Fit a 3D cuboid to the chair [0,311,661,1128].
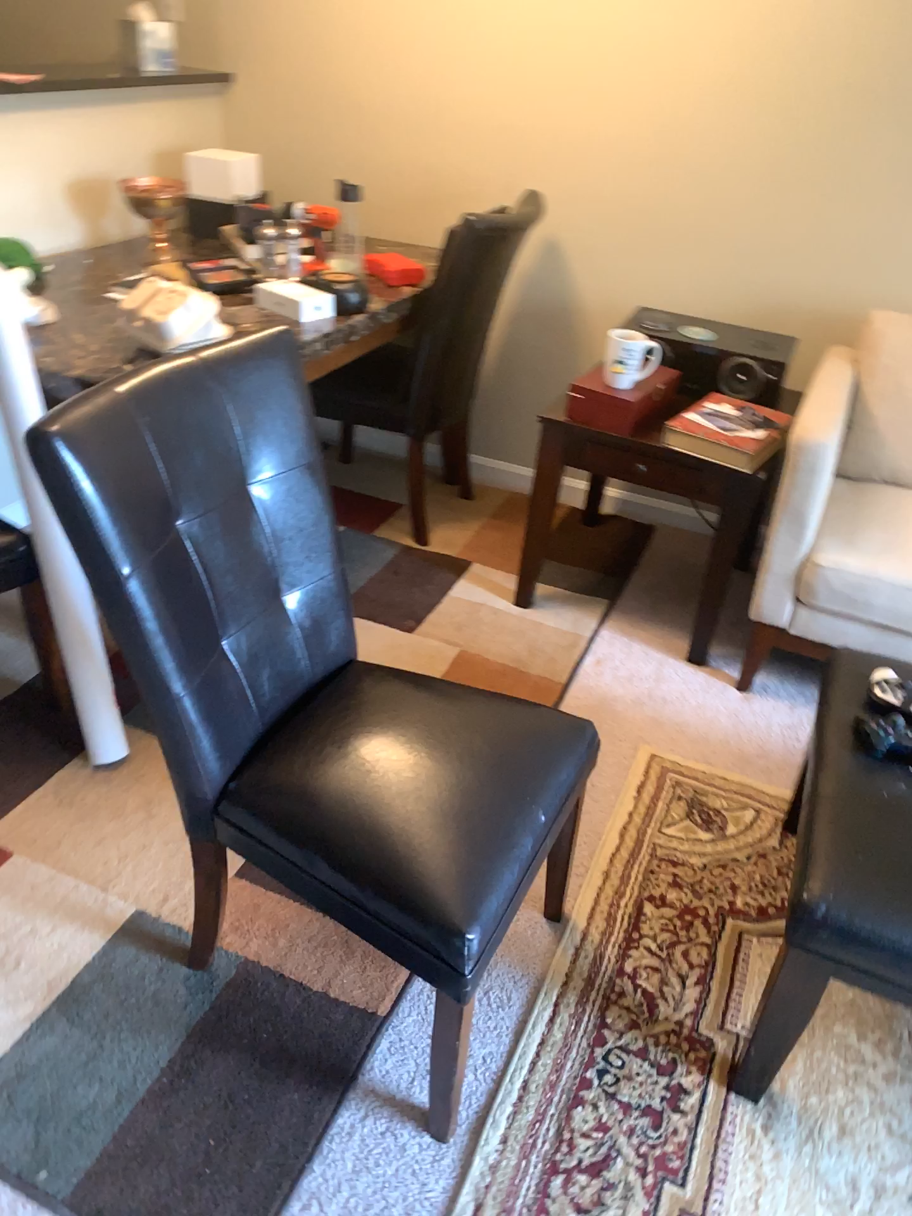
[{"bbox_3d":[-0.165,0.140,1.360,0.651,0.915,0.492,17,35,19],"label":"chair"}]
